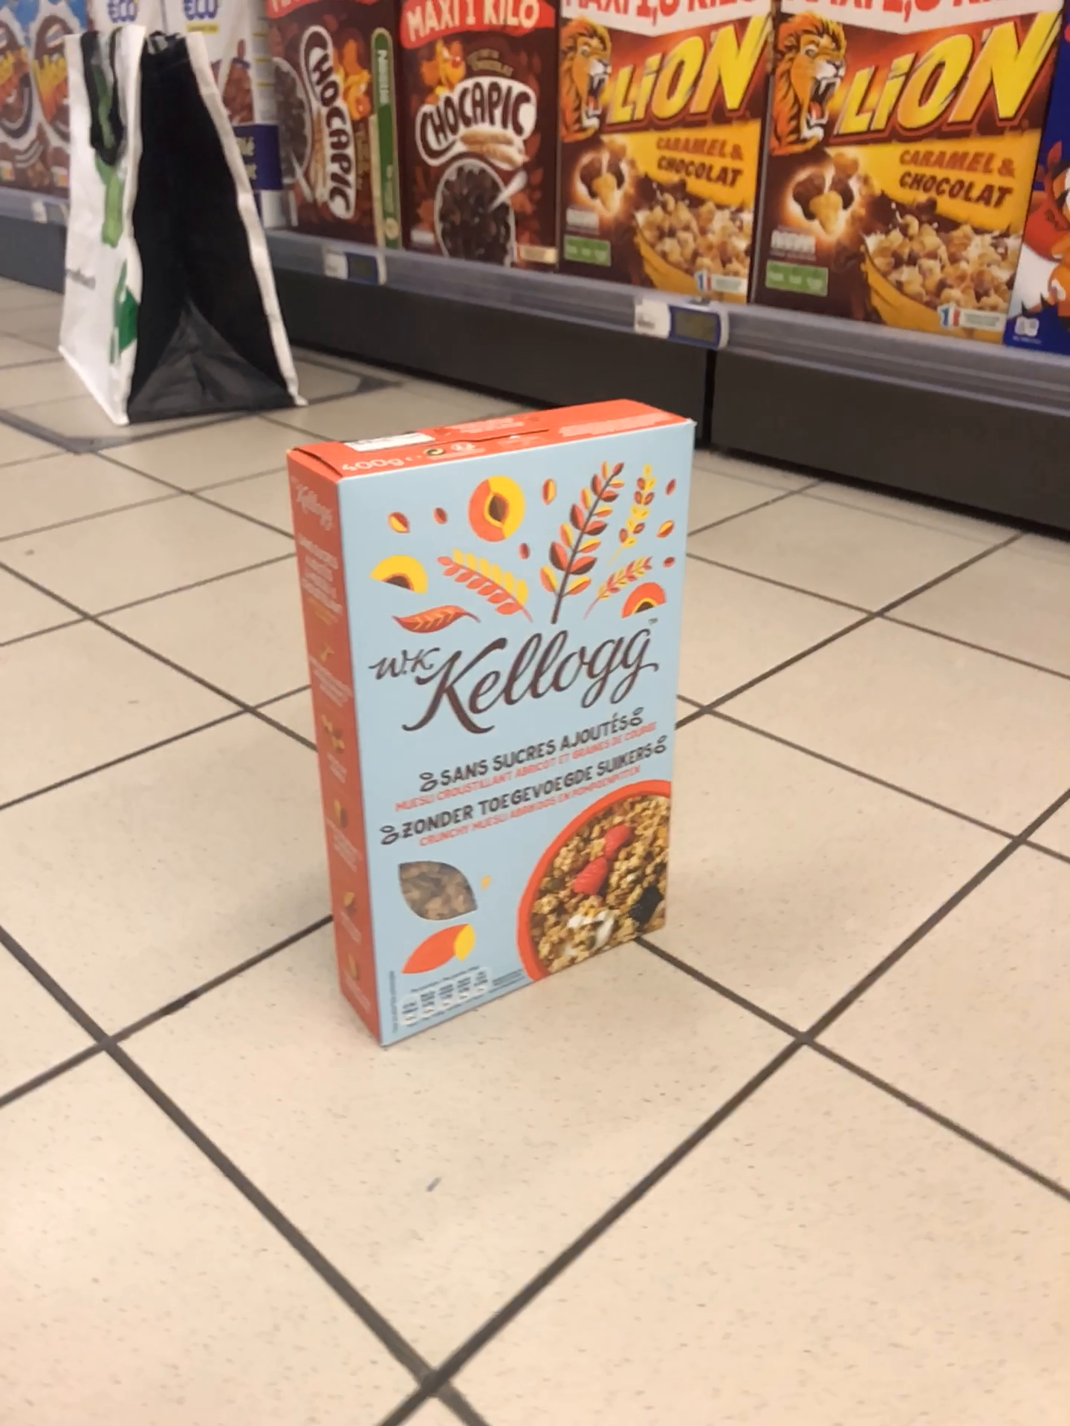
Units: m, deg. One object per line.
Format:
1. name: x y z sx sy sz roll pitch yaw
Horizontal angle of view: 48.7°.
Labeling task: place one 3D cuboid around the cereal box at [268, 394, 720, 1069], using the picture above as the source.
1. cereal box: -0.010 0.006 0.456 0.151 0.229 0.050 -15 30 -28
